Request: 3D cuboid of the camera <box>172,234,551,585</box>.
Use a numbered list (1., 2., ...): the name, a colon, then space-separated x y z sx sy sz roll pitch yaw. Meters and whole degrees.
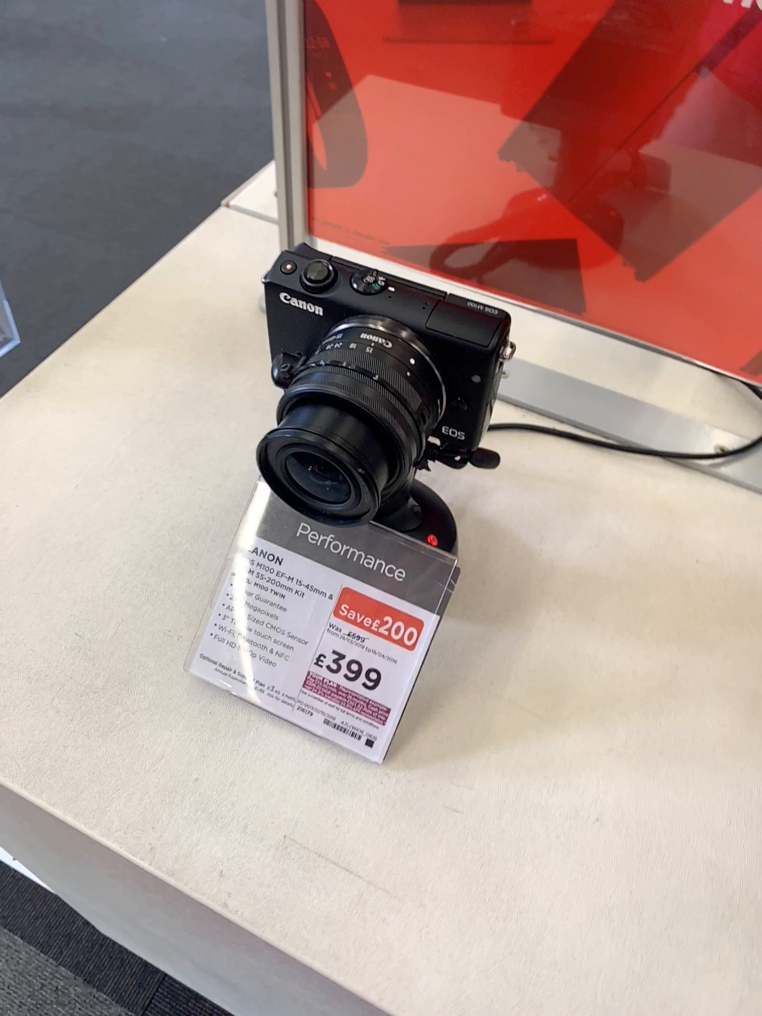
1. camera: -0.005 -0.046 0.339 0.120 0.069 0.101 21 53 12
